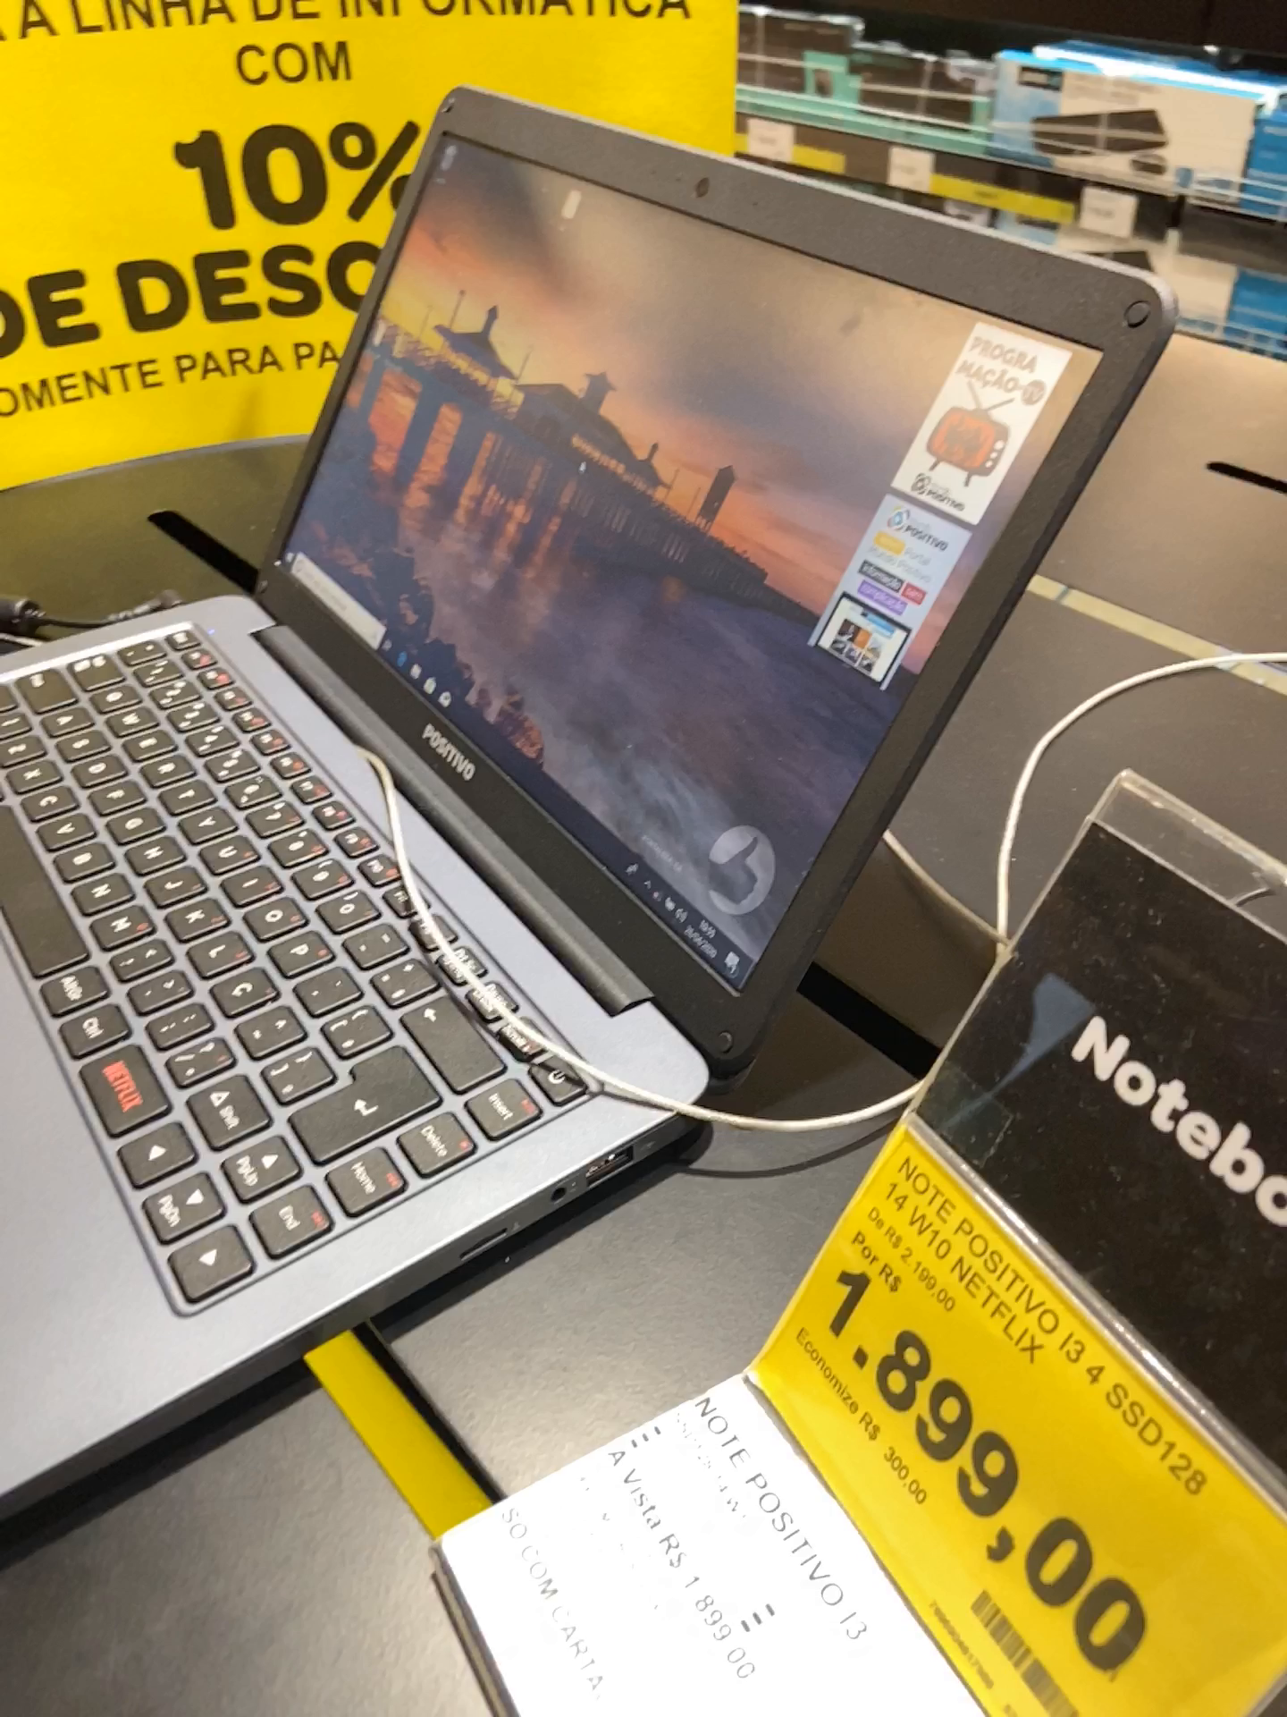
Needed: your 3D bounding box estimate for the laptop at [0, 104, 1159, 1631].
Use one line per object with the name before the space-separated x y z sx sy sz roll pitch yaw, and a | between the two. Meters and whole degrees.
laptop | -0.121 -0.072 0.374 0.342 0.172 0.333 -24 44 -26
